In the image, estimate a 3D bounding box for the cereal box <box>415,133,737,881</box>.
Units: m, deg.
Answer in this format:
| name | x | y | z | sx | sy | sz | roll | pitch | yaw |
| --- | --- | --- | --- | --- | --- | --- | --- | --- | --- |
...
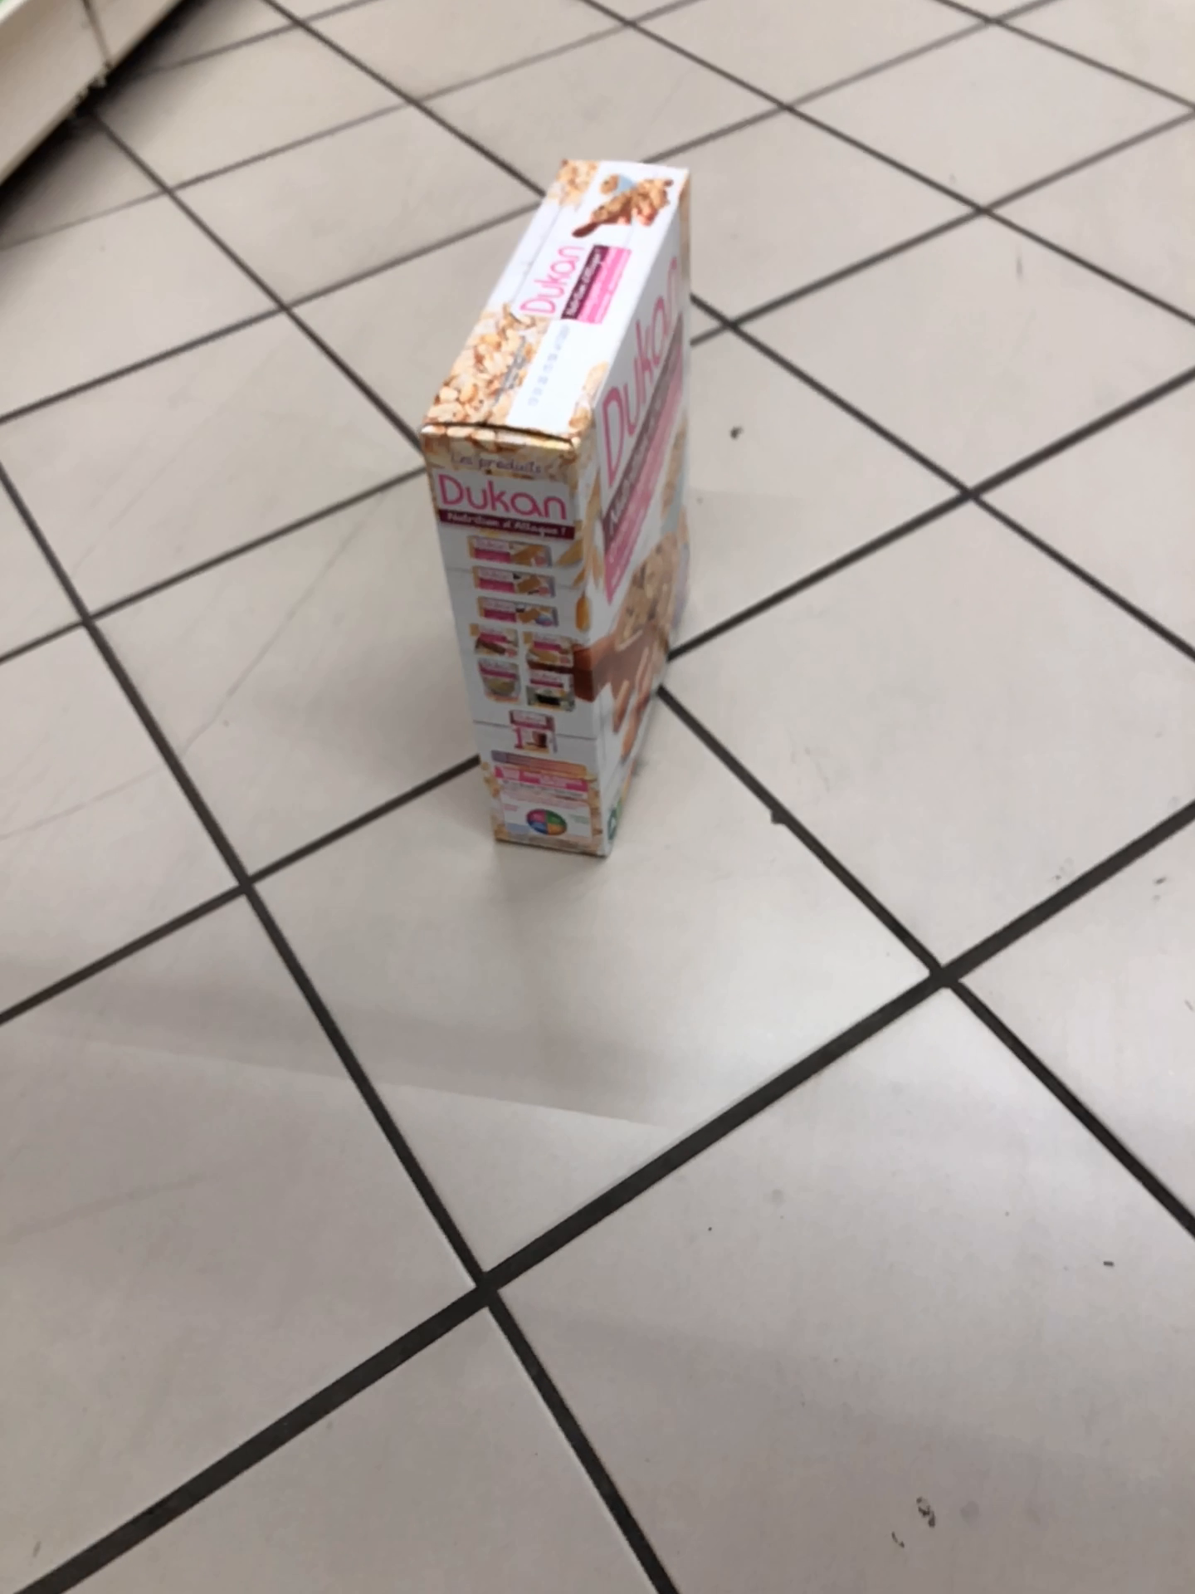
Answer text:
| name | x | y | z | sx | sy | sz | roll | pitch | yaw |
| --- | --- | --- | --- | --- | --- | --- | --- | --- | --- |
| cereal box | 0.007 | -0.107 | 0.503 | 0.060 | 0.199 | 0.191 | 7 | 51 | 12 |
